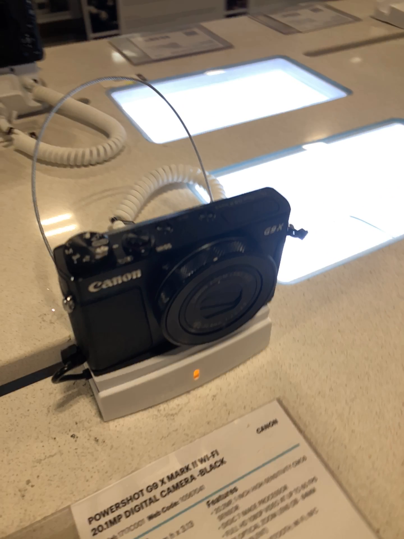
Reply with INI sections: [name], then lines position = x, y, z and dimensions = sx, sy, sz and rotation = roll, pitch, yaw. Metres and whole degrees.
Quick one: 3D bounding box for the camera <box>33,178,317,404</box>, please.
[camera]
position = -0.008, 0.007, 0.184
dimensions = 0.100, 0.060, 0.030
rotation = -19, 47, -18
